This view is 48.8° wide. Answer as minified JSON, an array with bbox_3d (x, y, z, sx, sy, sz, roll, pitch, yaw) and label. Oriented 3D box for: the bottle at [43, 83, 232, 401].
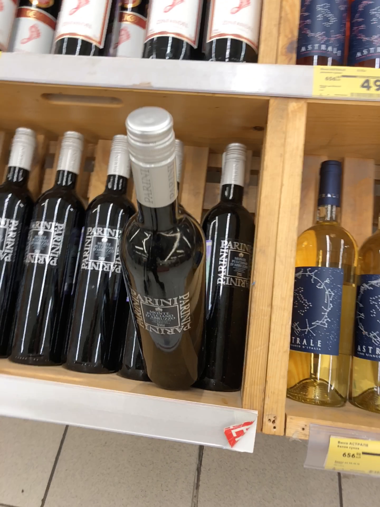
[{"bbox_3d":[-0.028,0.015,0.356,0.090,0.279,0.080,13,48,12],"label":"bottle"}]
